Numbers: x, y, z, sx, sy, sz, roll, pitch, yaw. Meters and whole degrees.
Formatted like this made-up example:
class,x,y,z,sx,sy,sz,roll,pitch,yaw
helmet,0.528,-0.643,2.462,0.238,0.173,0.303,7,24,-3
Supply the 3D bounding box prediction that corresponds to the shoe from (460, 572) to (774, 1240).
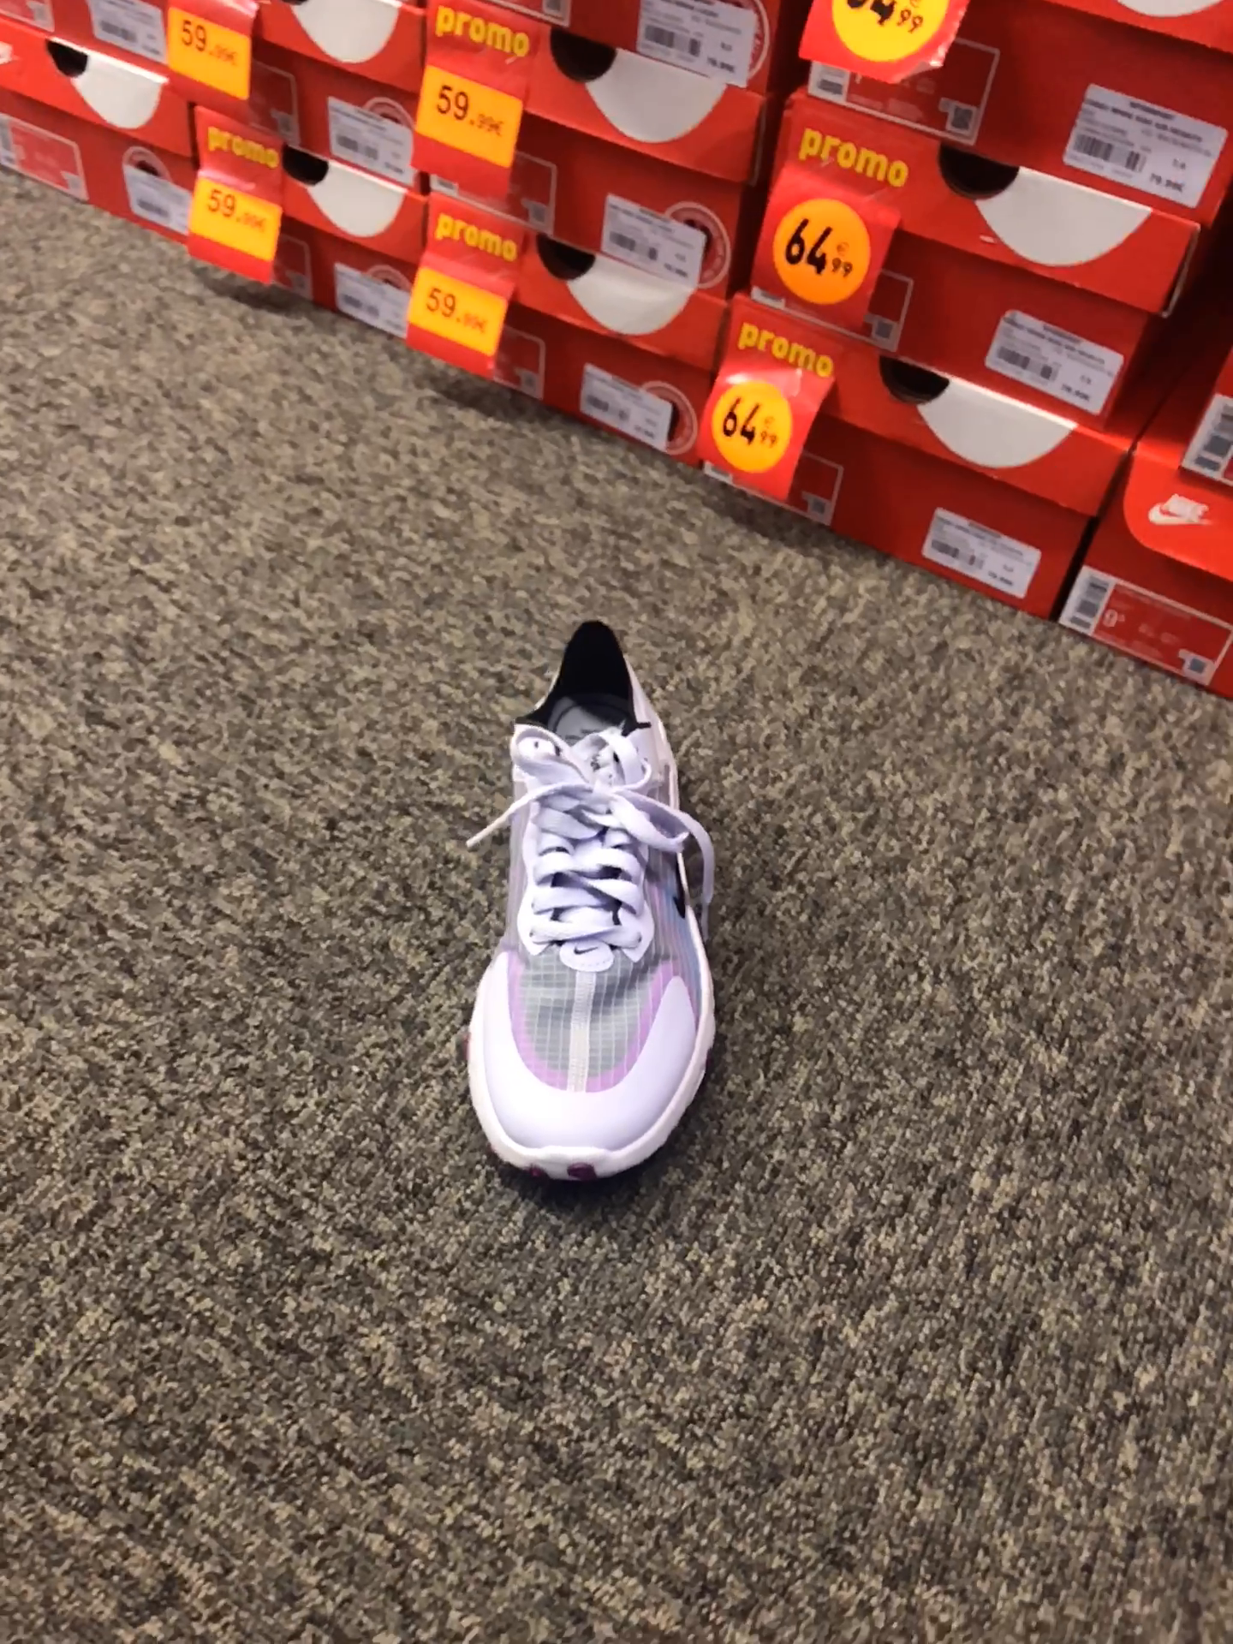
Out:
class,x,y,z,sx,sy,sz,roll,pitch,yaw
shoe,-0.001,0.023,0.557,0.100,0.099,0.261,4,48,-3
